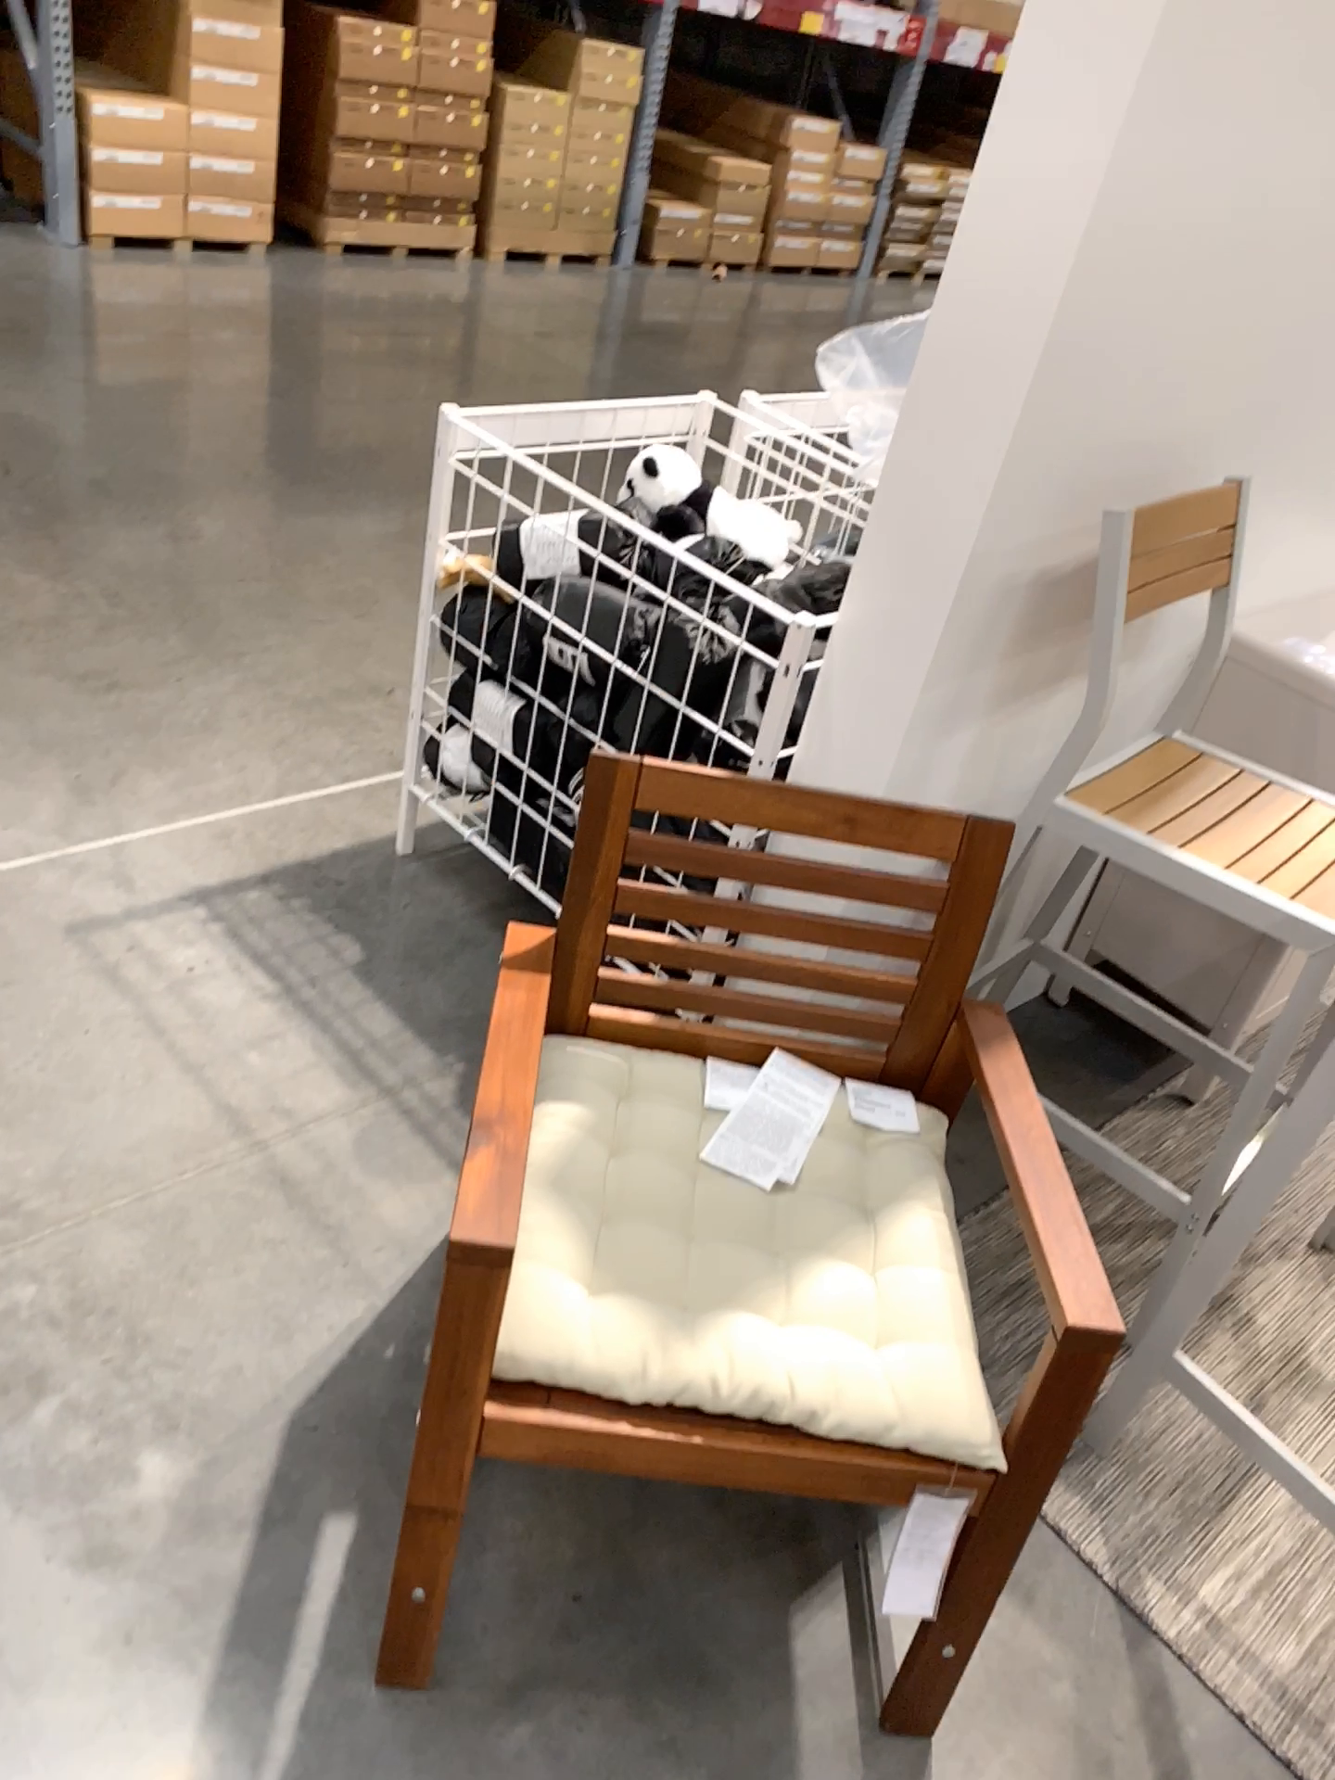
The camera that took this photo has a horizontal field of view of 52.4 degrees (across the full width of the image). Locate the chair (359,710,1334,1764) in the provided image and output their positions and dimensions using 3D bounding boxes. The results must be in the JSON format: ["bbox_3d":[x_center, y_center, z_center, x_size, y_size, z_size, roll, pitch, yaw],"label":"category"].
[{"bbox_3d":[0.089,0.346,1.429,0.650,0.707,0.723,9,35,-8],"label":"chair"}]
